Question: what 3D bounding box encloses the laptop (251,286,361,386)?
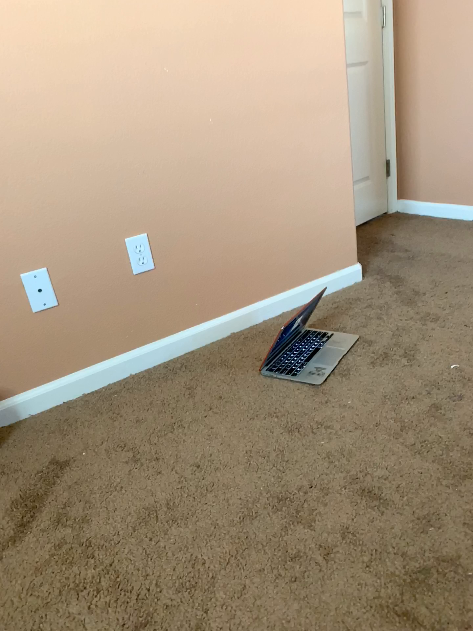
[{"bbox_3d":[0.212,0.046,1.399,0.193,0.148,0.300,7,28,33],"label":"laptop"}]
